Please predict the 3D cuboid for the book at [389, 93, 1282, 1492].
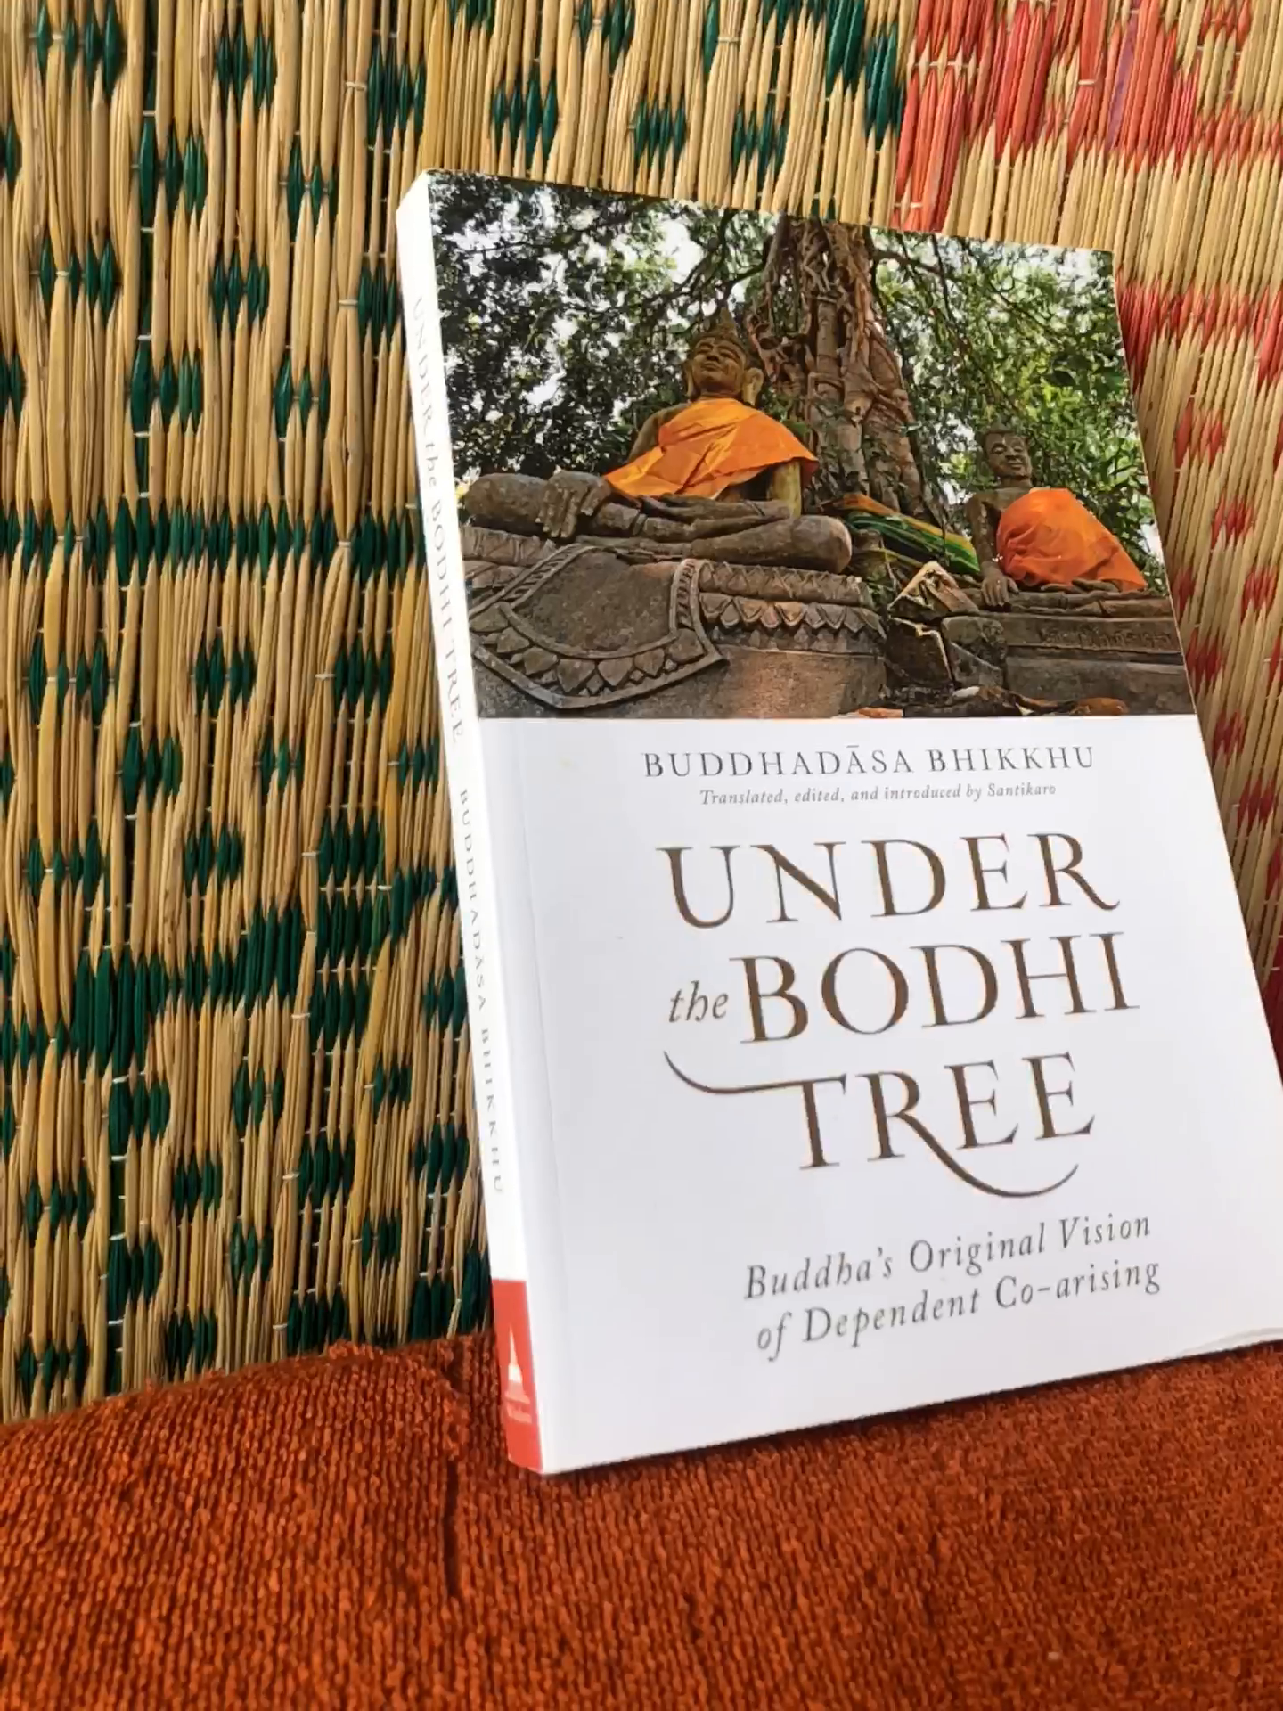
[{"bbox_3d":[0.044,-0.021,0.269,0.160,0.231,0.030,-3,-12,-20],"label":"book"}]
